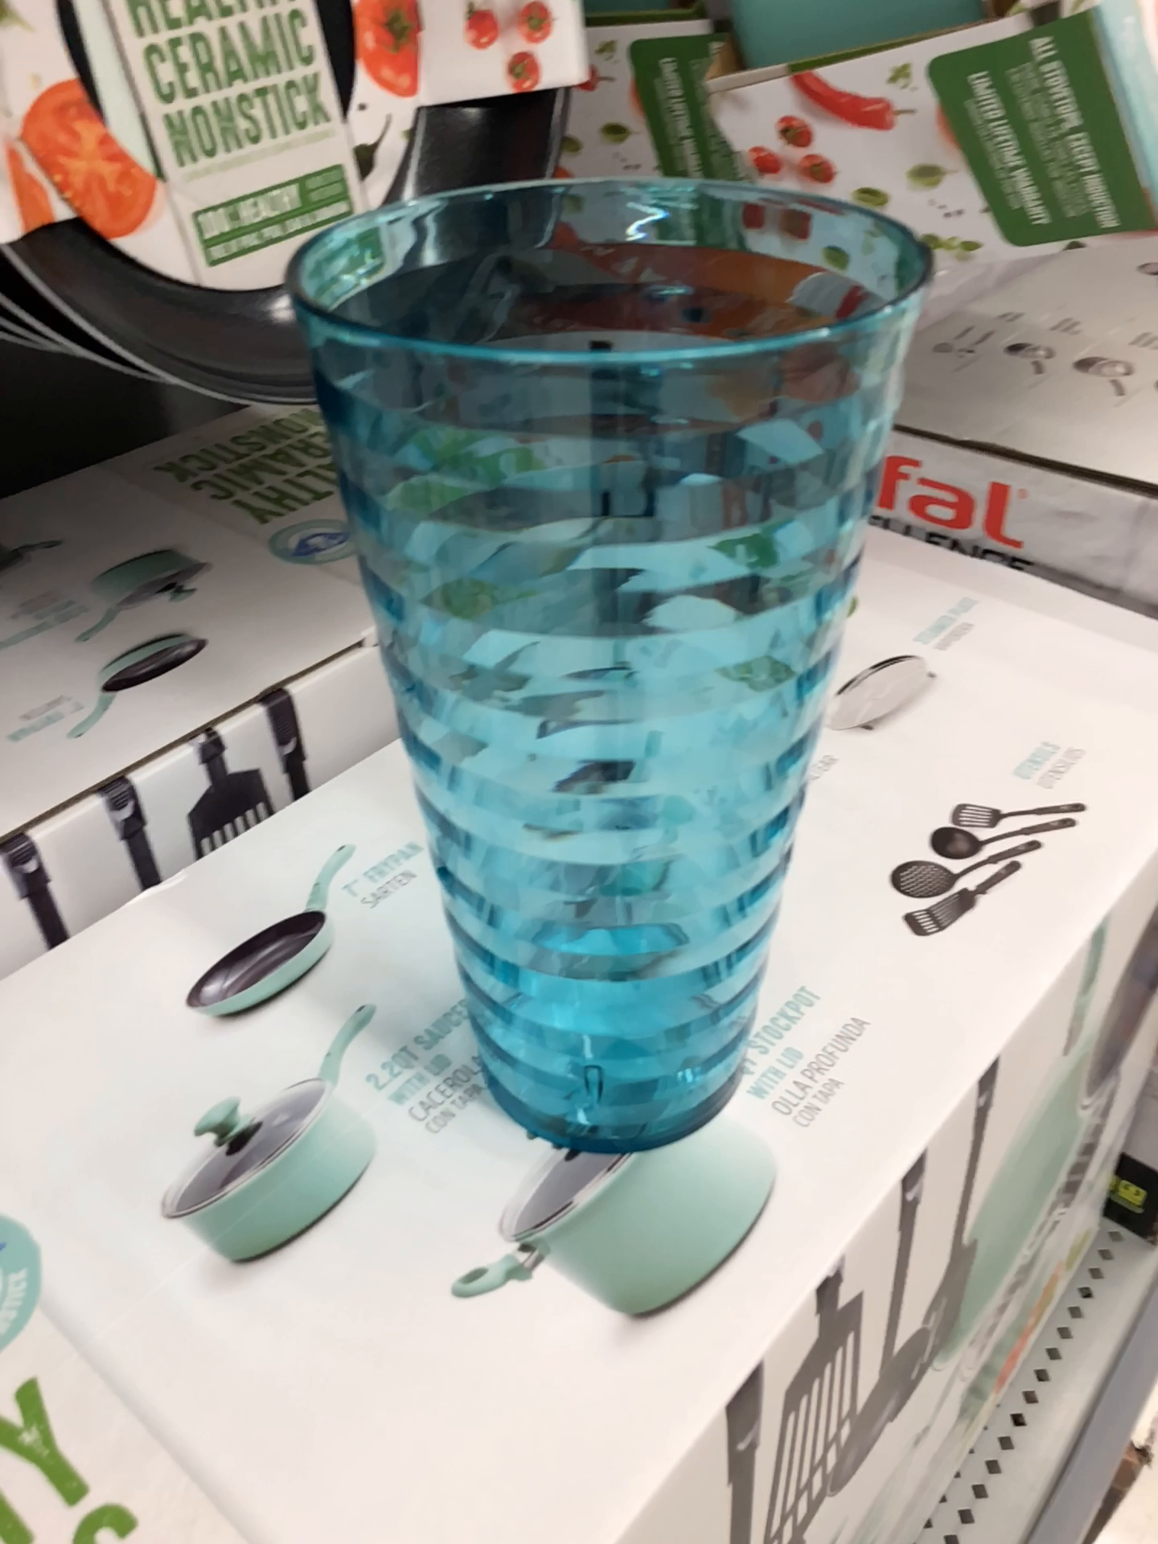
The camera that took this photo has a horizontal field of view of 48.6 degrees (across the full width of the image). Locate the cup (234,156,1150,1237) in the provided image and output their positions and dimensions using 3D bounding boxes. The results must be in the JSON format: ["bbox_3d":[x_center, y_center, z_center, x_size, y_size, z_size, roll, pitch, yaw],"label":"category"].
[{"bbox_3d":[0.006,-0.017,0.234,0.104,0.151,0.104,0,37,0],"label":"cup"}]
